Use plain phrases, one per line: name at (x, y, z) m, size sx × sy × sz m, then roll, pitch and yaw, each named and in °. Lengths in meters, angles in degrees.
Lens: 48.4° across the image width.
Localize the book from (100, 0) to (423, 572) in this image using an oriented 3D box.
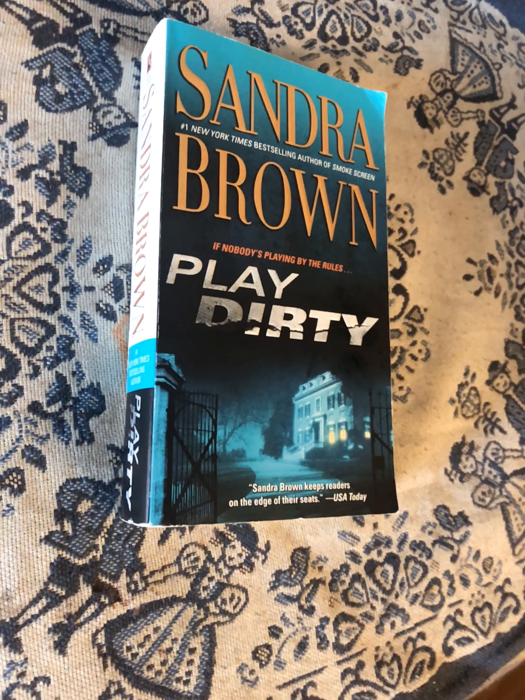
book at (0.002, -0.020, 0.222) m, size 0.110 × 0.040 × 0.180 m, roll 5°, pitch 81°, yaw -28°
